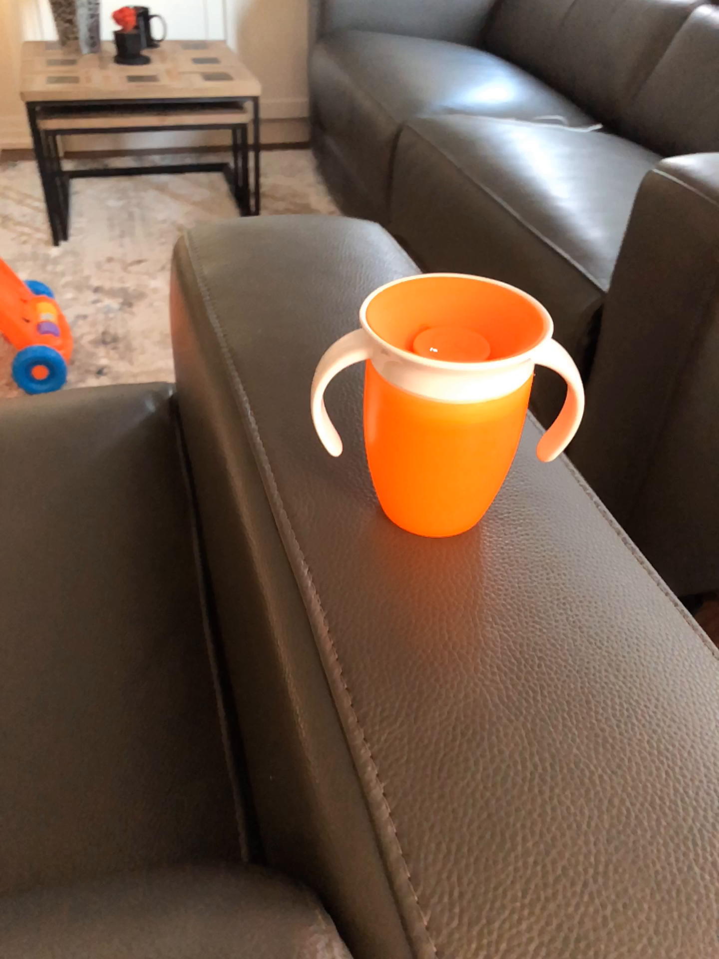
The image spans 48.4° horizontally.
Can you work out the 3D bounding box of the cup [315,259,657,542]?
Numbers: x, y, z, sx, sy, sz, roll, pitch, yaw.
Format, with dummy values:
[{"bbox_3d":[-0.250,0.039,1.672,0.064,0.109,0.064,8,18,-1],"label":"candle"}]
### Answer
[{"bbox_3d":[0.046,-0.036,0.363,0.126,0.096,0.083,-1,39,-6],"label":"cup"}]
